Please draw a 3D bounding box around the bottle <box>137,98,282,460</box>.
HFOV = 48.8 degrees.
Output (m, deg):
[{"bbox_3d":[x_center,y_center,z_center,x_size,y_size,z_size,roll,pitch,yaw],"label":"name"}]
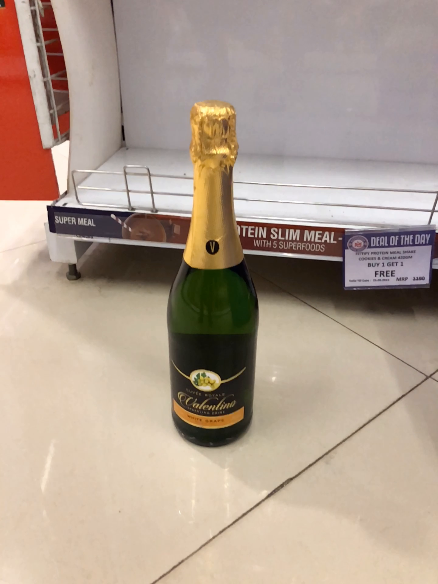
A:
[{"bbox_3d":[-0.004,0.003,0.414,0.090,0.298,0.091,1,32,0],"label":"bottle"}]
